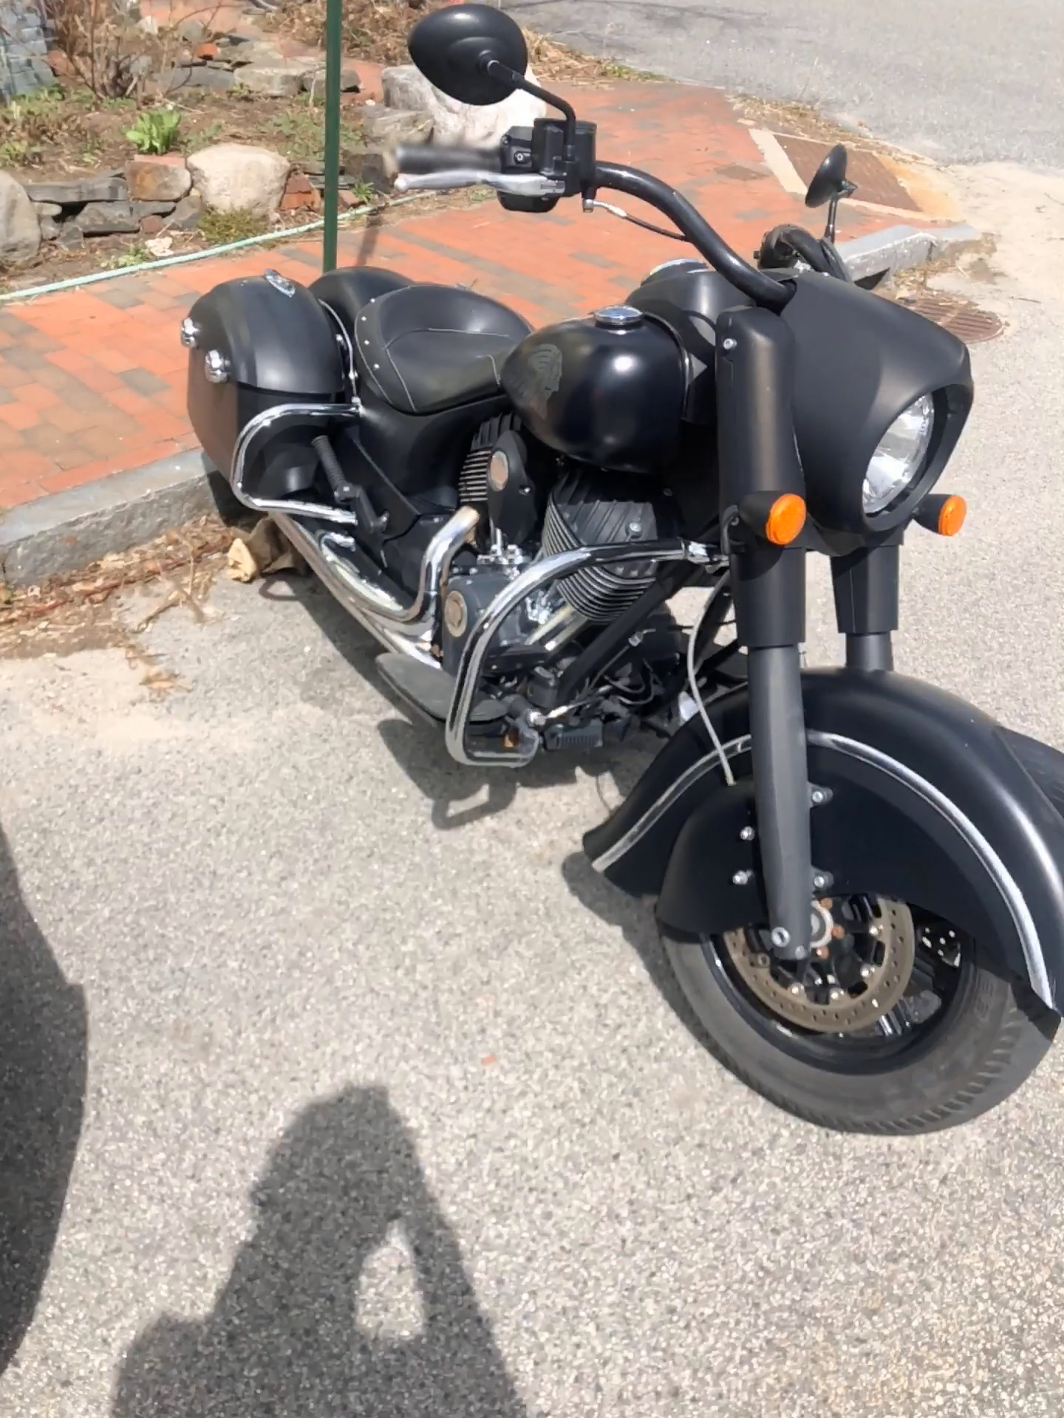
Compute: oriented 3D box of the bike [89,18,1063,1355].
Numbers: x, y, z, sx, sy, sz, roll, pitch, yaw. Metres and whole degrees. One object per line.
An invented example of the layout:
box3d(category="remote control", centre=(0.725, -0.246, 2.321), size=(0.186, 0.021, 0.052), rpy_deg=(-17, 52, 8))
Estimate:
box3d(category="bike", centre=(0.078, -0.350, 1.994), size=(0.782, 1.237, 2.136), rpy_deg=(-22, 40, -24))
